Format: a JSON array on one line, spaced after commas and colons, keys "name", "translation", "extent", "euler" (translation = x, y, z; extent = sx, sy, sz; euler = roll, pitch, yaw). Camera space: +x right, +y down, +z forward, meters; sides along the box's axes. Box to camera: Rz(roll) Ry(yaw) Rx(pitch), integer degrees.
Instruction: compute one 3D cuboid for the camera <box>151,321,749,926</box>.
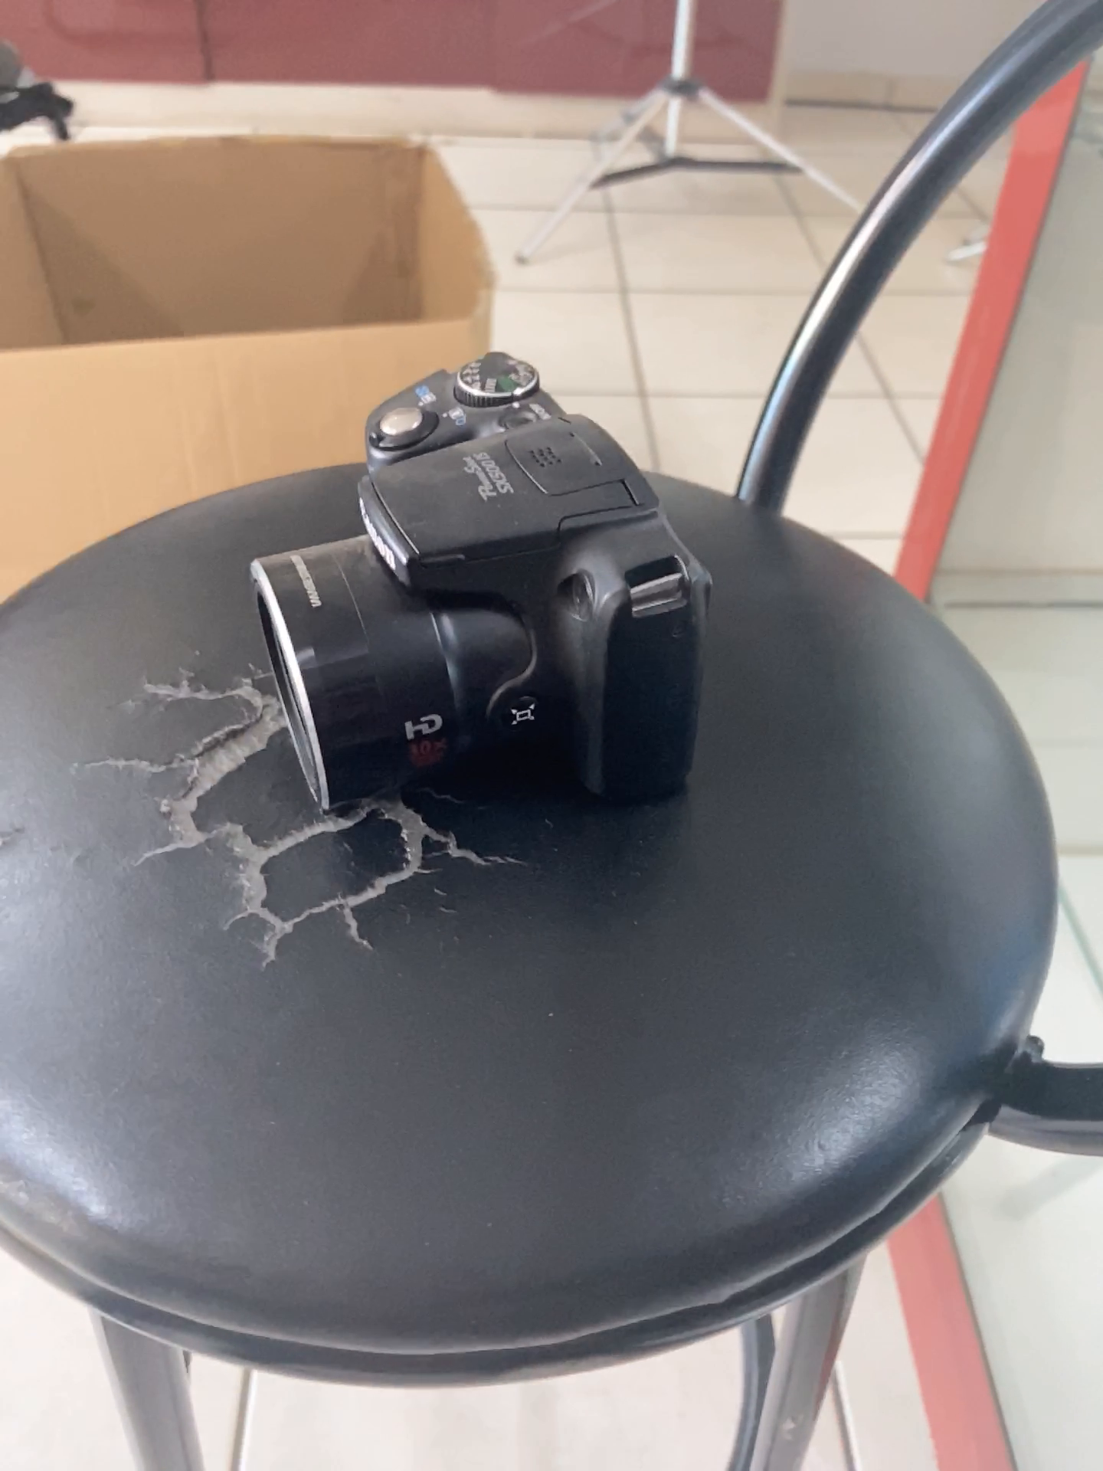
[{"name": "camera", "translation": [-0.027, -0.033, 0.263], "extent": [0.090, 0.070, 0.110], "euler": [-17, 45, -20]}]
